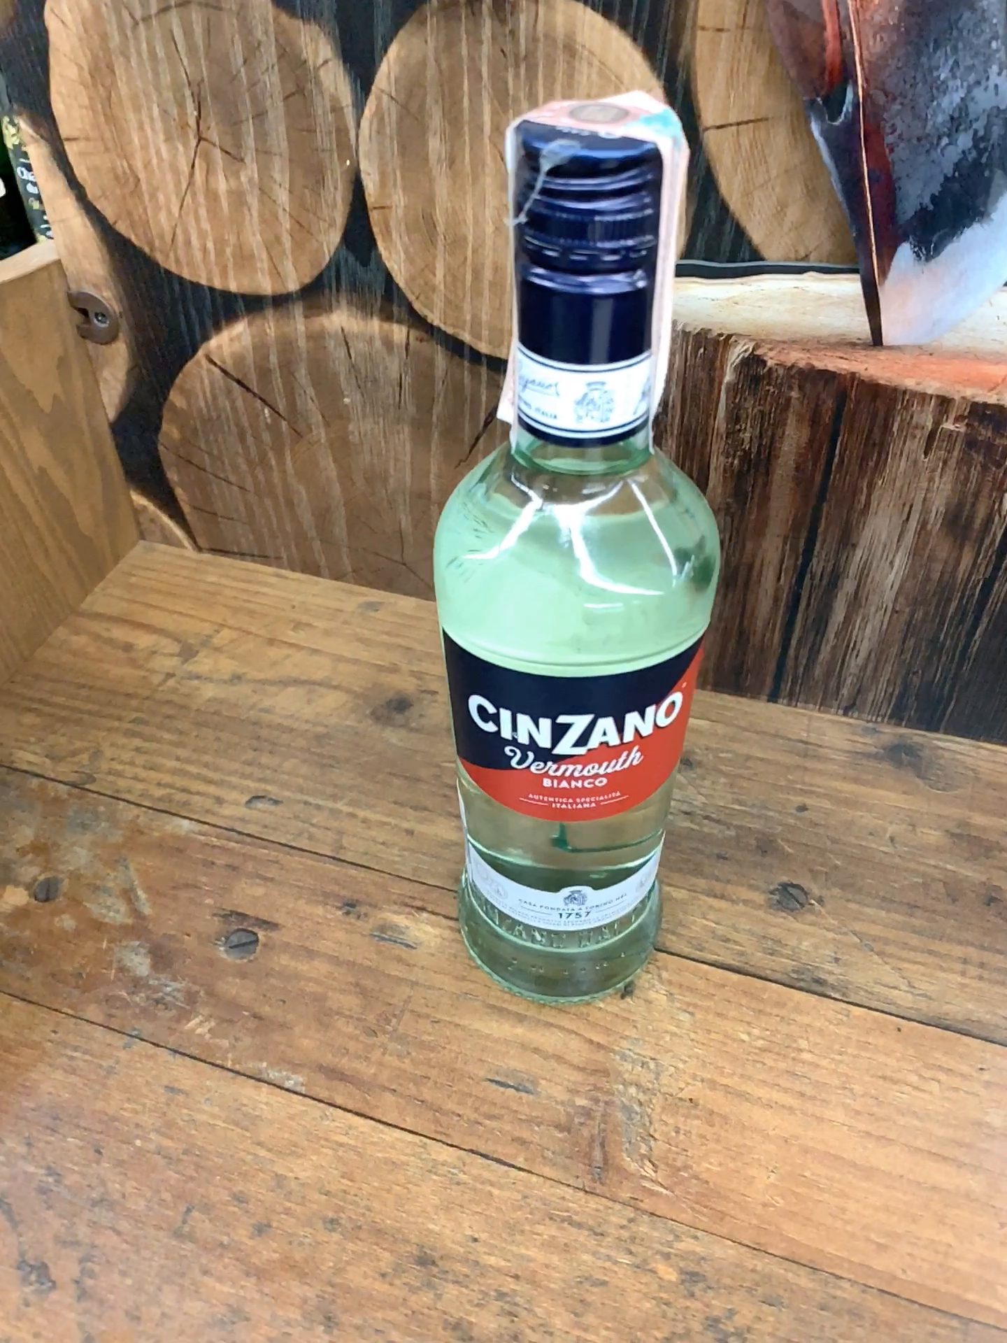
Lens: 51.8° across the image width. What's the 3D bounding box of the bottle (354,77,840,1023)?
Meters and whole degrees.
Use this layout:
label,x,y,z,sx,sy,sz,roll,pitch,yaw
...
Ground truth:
label,x,y,z,sx,sy,sz,roll,pitch,yaw
bottle,0.016,-0.006,0.254,0.070,0.231,0.070,0,43,0
